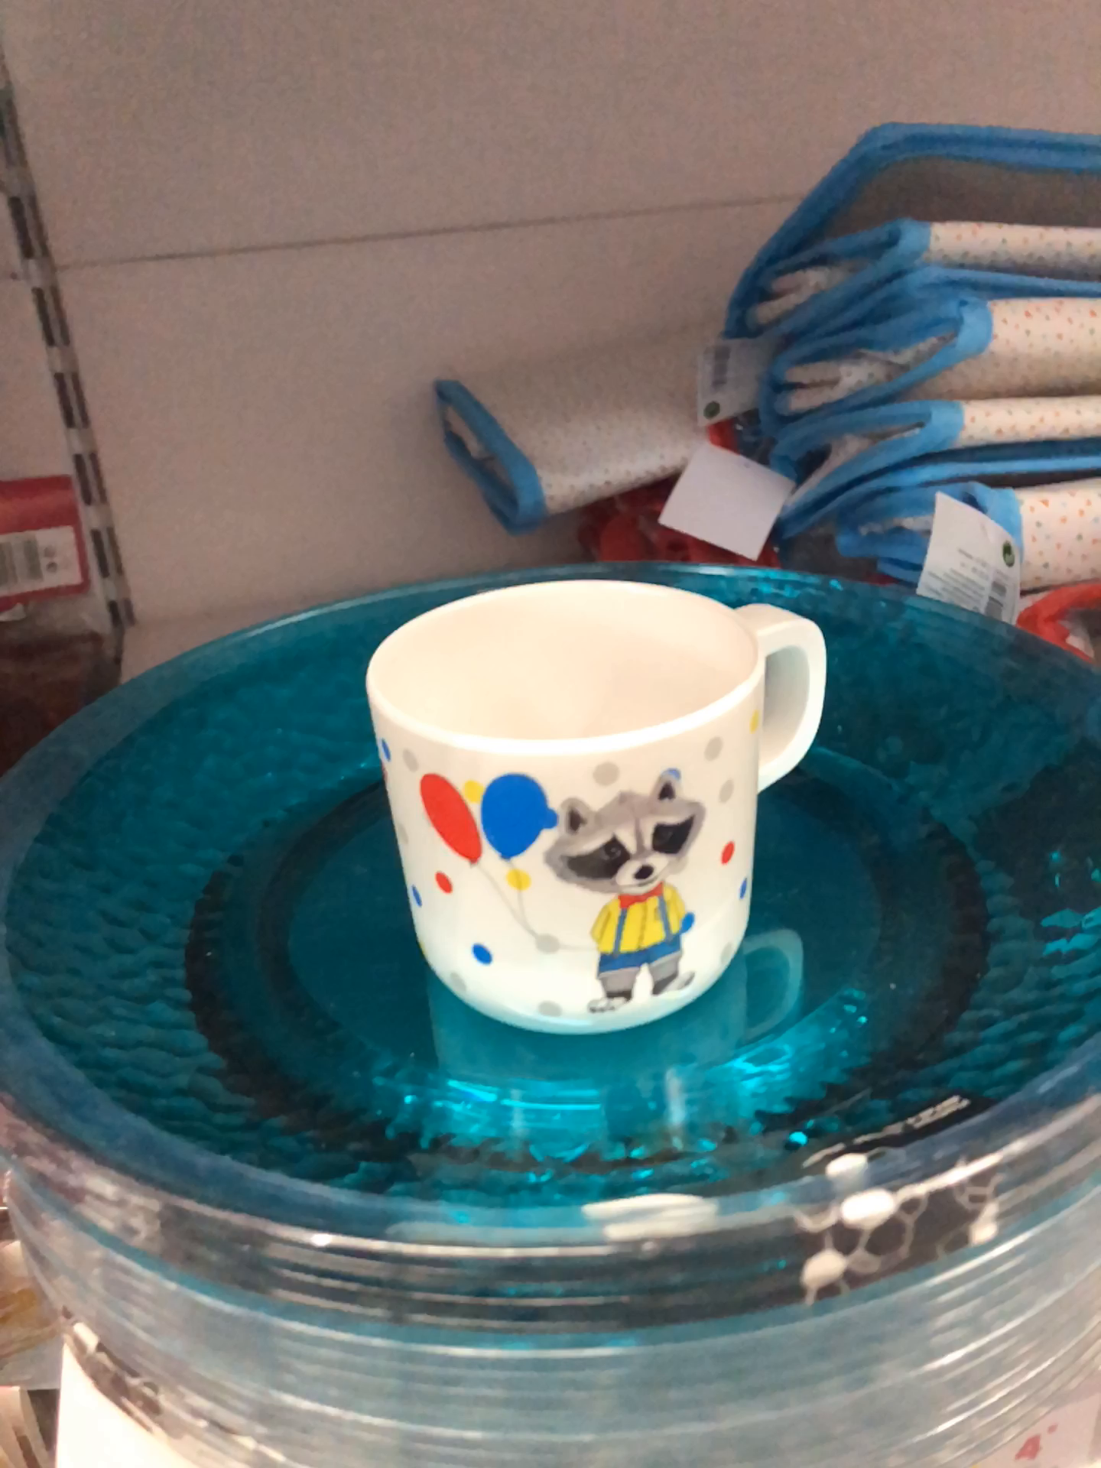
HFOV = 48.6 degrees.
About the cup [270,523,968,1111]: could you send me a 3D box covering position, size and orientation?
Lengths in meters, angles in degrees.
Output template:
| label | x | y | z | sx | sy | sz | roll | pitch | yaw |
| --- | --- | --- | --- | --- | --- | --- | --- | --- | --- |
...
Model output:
| label | x | y | z | sx | sy | sz | roll | pitch | yaw |
| --- | --- | --- | --- | --- | --- | --- | --- | --- | --- |
| cup | 0.015 | 0.006 | 0.250 | 0.109 | 0.059 | 0.080 | -22 | 32 | -31 |
